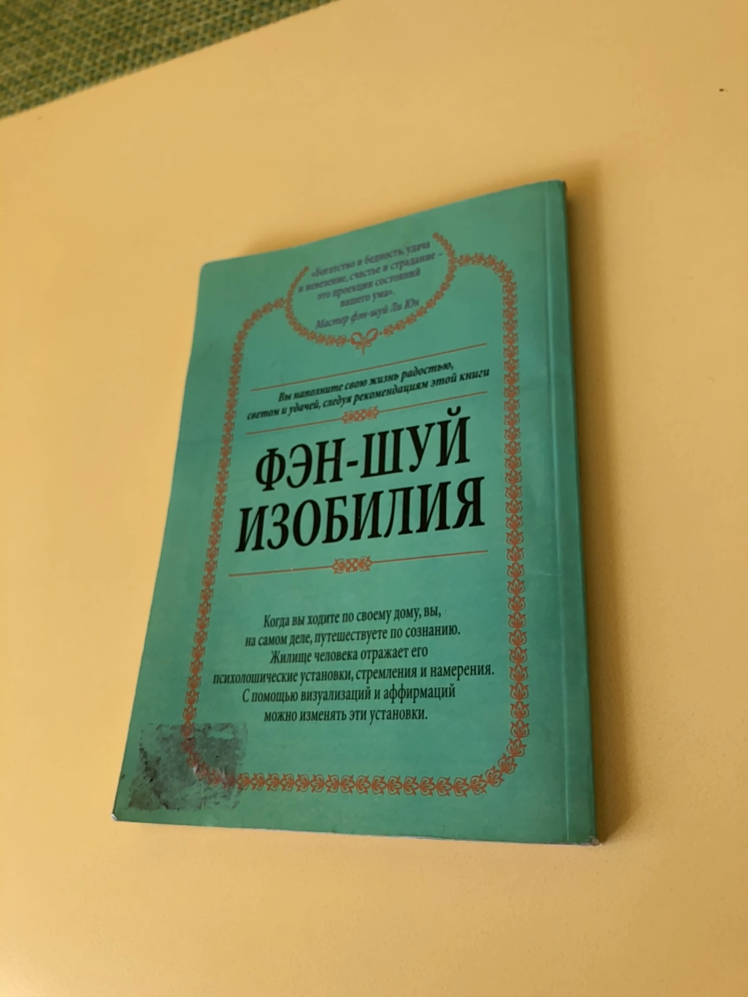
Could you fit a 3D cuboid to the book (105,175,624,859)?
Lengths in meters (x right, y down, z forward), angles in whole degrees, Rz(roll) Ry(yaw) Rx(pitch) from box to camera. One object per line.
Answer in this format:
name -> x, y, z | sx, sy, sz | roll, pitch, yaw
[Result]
book -> -0.002, 0.001, 0.220 | 0.118, 0.020, 0.166 | -7, 65, 22
